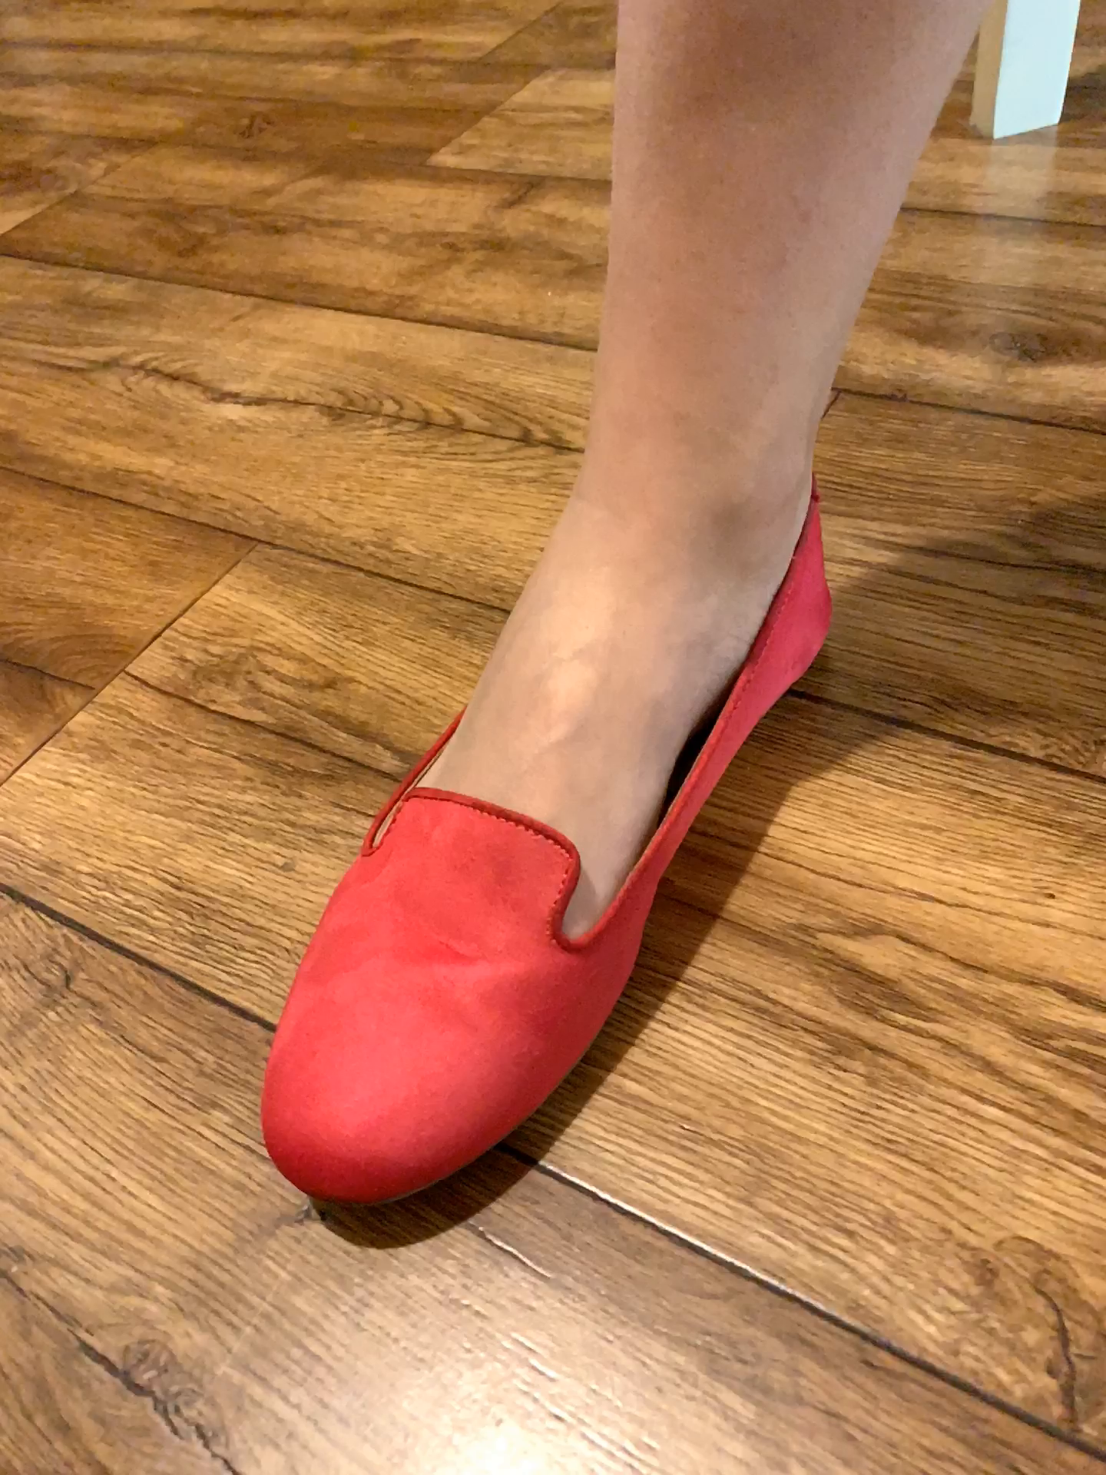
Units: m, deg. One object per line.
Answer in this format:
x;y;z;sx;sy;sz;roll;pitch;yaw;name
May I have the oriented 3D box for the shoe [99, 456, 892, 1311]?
0.002;0.019;0.305;0.087;0.060;0.220;22;55;28;shoe
